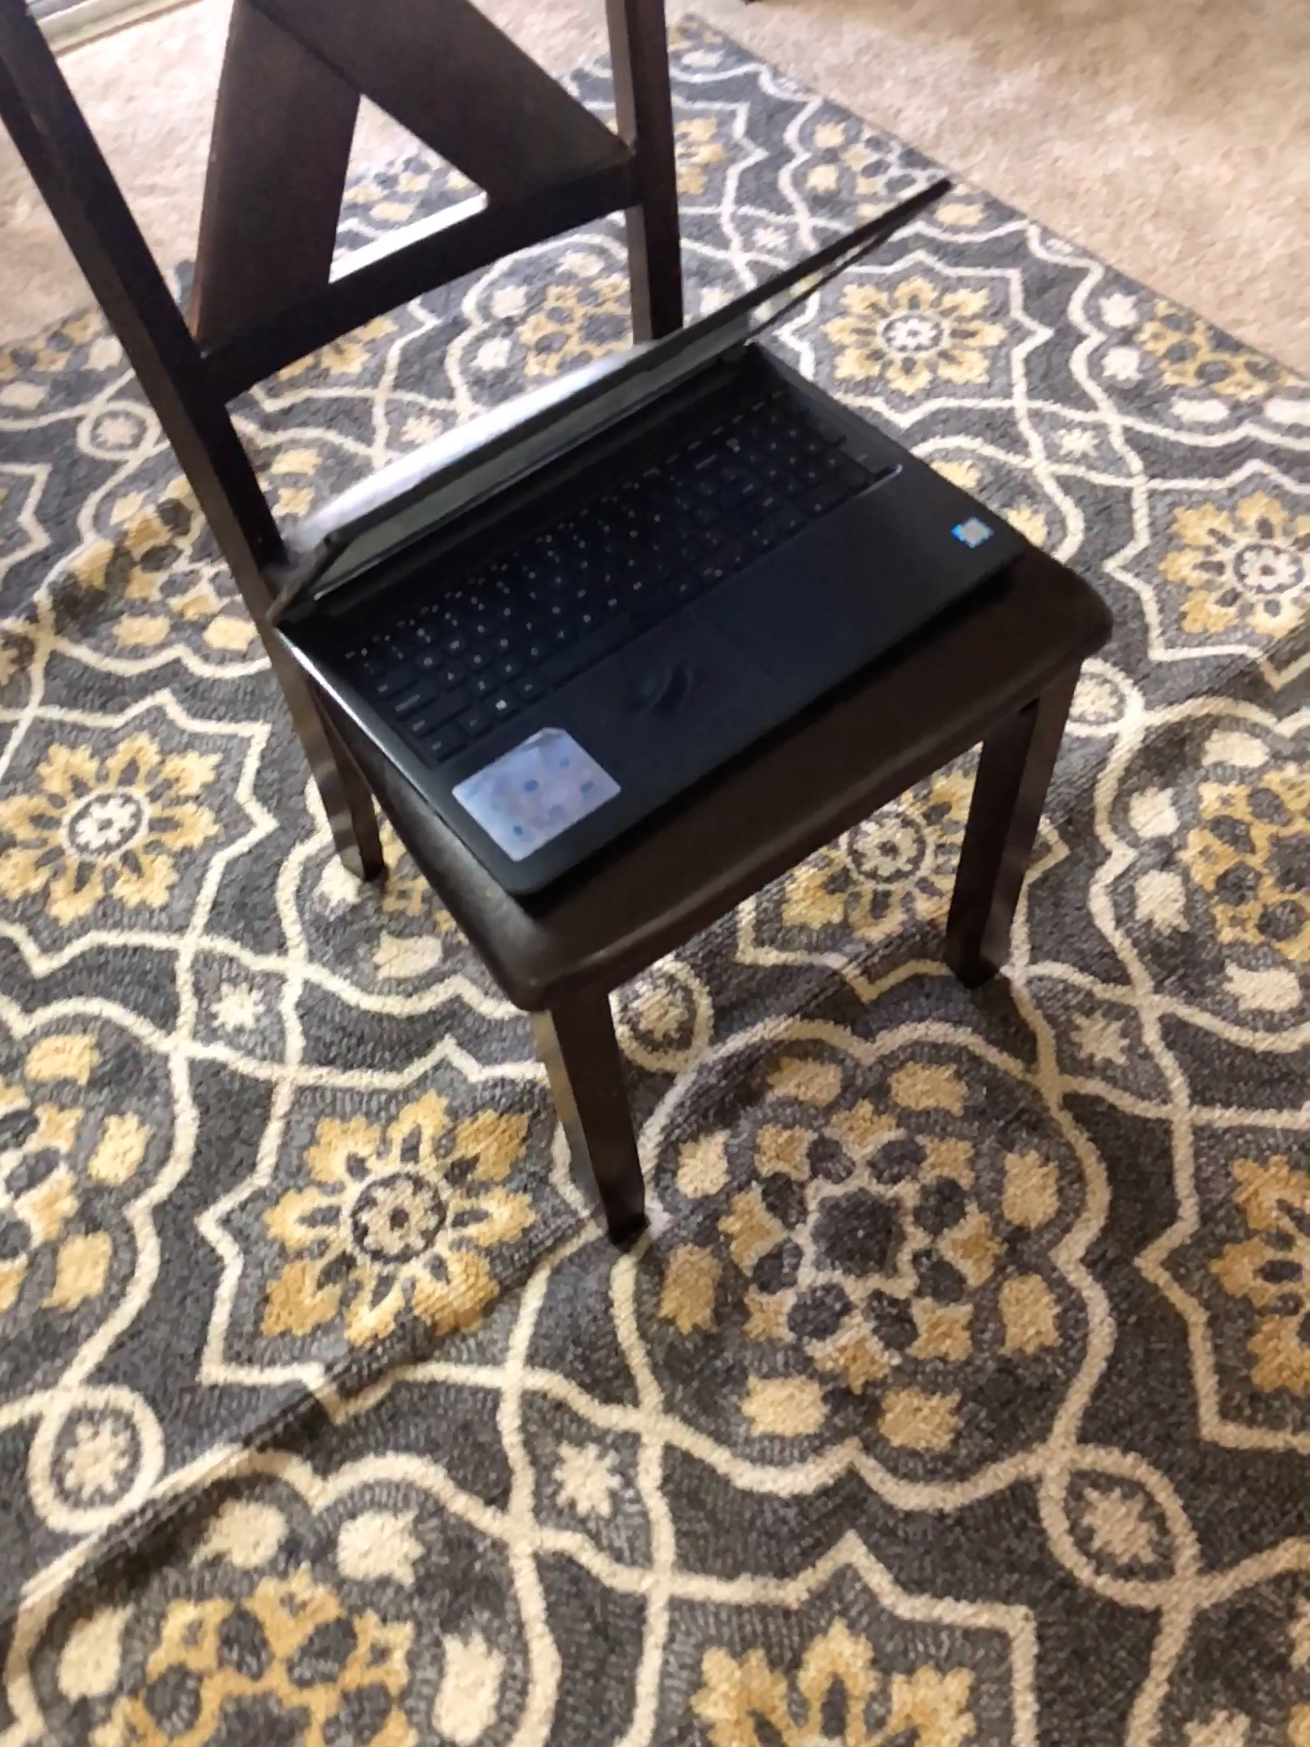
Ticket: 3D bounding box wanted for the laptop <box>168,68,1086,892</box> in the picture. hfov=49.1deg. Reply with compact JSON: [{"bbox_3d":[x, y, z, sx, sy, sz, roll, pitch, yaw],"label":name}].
[{"bbox_3d":[-0.008,-0.220,0.760,0.366,0.186,0.245,-36,61,-19],"label":"laptop"}]
